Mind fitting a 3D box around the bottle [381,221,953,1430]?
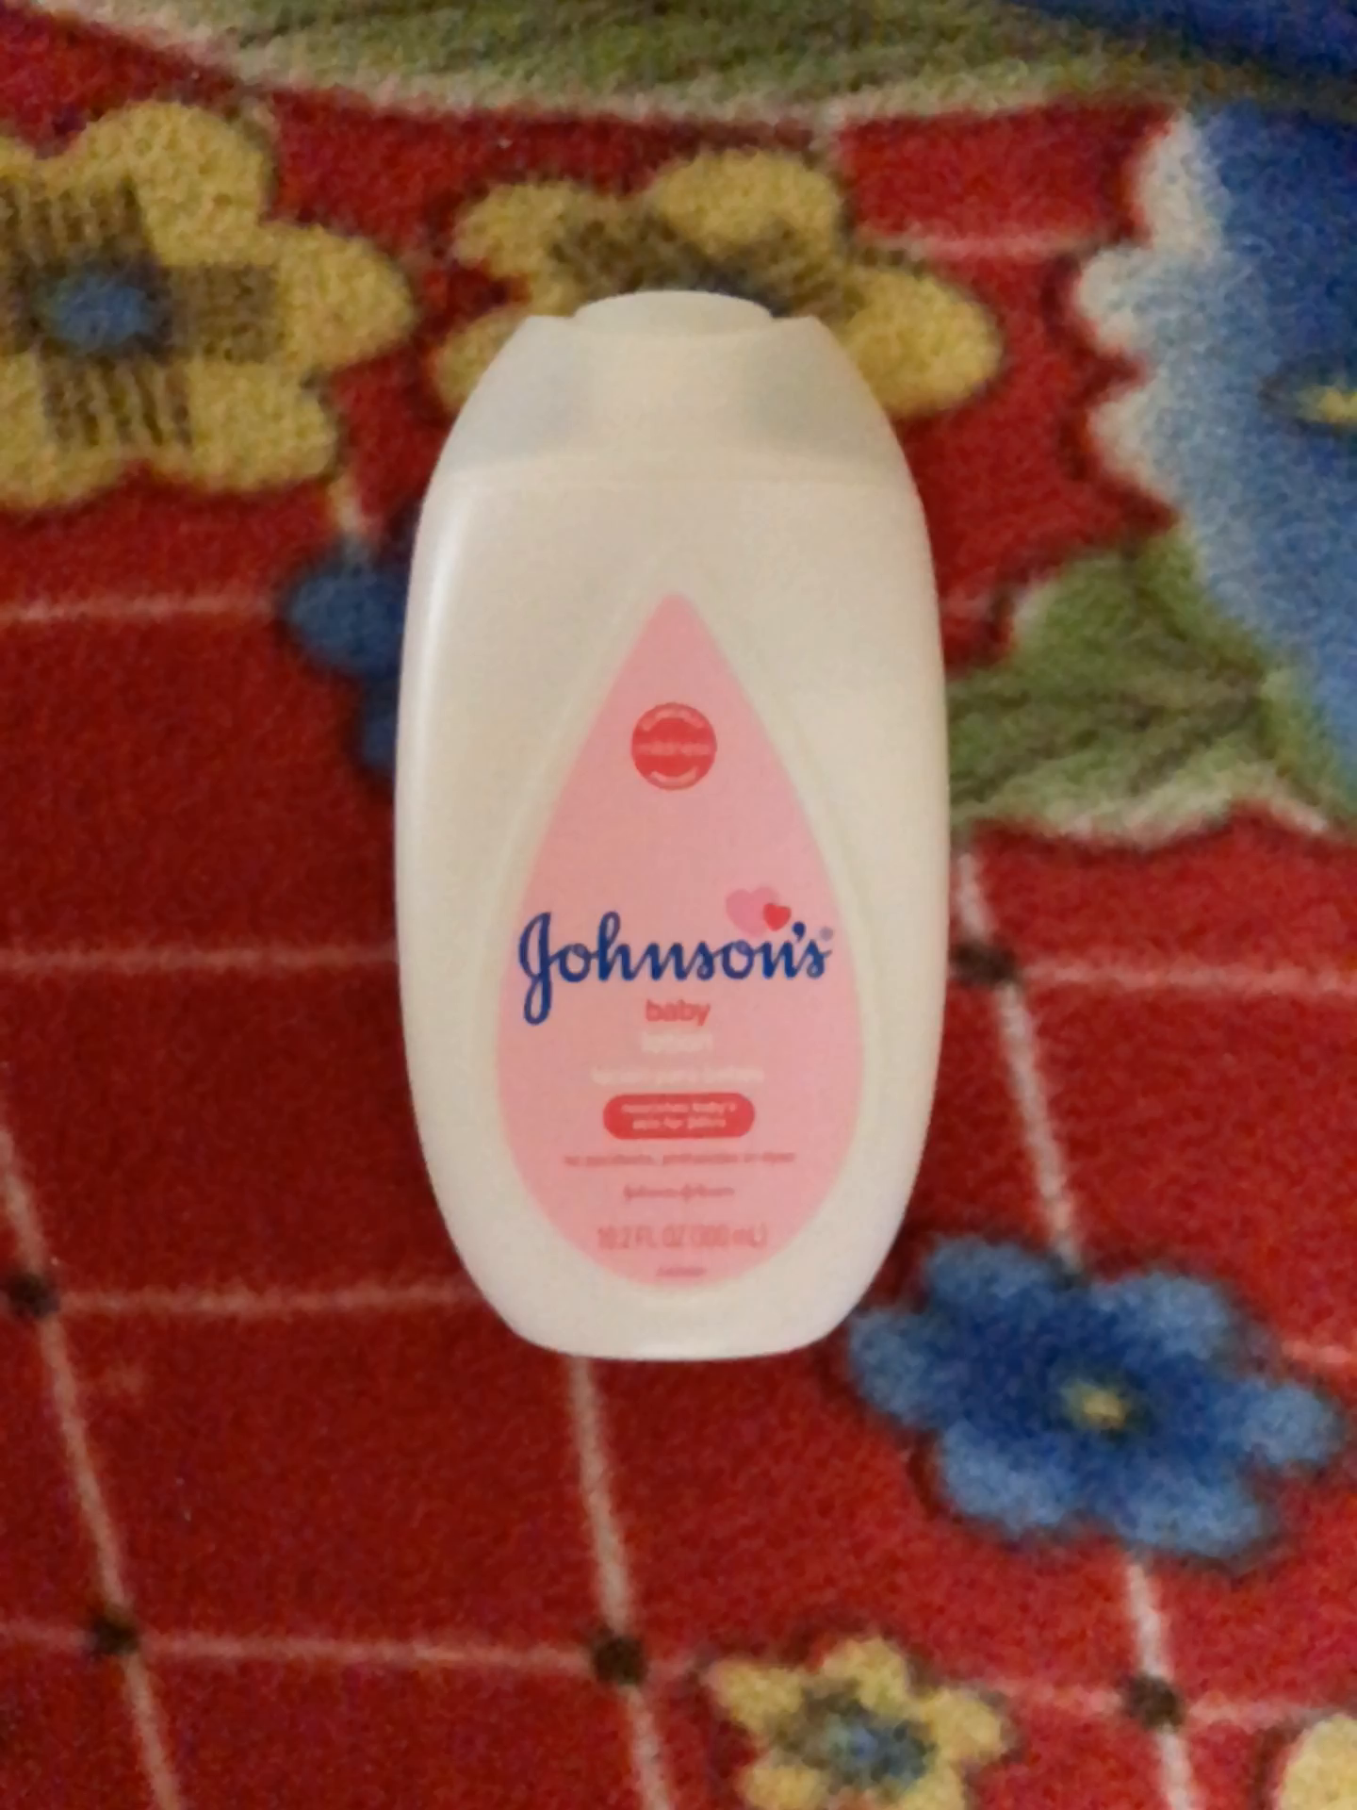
[{"bbox_3d":[-0.001,-0.012,0.231,0.080,0.030,0.170,0,89,2],"label":"bottle"}]
